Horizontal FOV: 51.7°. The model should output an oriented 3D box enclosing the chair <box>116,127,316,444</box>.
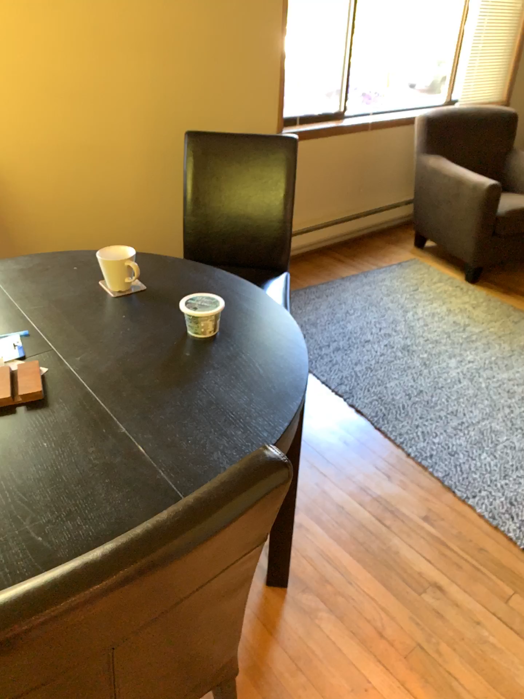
[{"bbox_3d":[-0.140,-0.265,2.226,0.620,1.083,0.654,4,32,2],"label":"chair"}]
